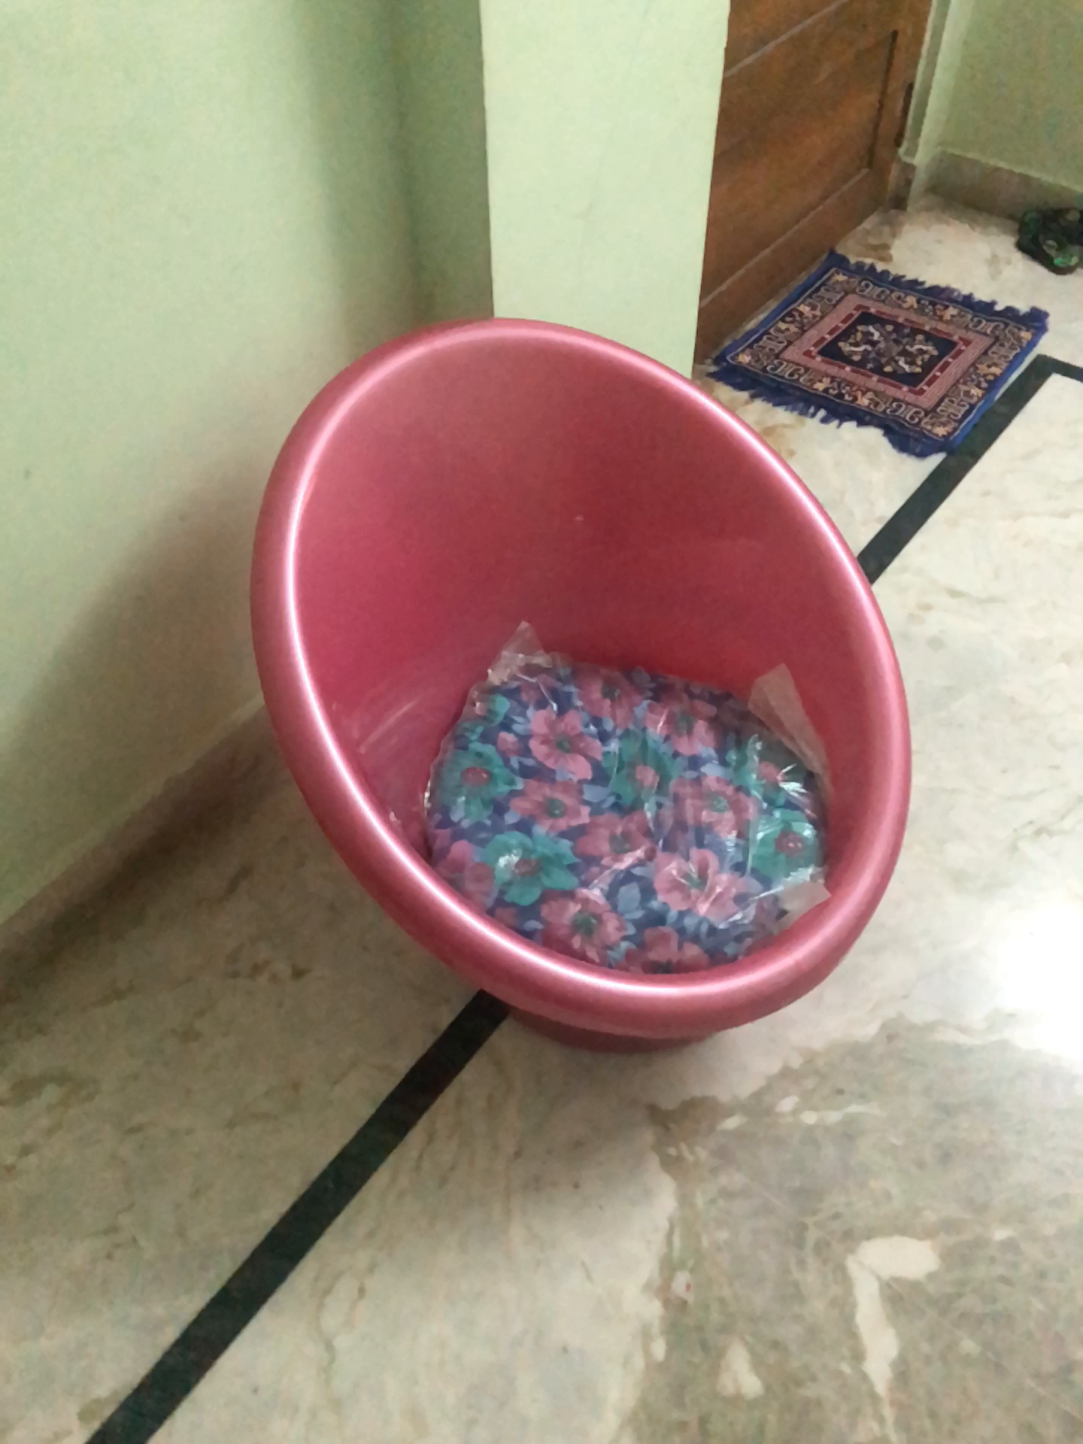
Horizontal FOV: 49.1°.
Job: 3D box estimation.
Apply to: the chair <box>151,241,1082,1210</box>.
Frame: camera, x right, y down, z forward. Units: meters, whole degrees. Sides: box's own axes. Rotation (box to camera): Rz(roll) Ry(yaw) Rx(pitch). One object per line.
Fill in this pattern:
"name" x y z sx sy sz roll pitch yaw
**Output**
"chair" 0.056 -0.029 1.258 0.641 0.547 0.663 -21 52 -16
